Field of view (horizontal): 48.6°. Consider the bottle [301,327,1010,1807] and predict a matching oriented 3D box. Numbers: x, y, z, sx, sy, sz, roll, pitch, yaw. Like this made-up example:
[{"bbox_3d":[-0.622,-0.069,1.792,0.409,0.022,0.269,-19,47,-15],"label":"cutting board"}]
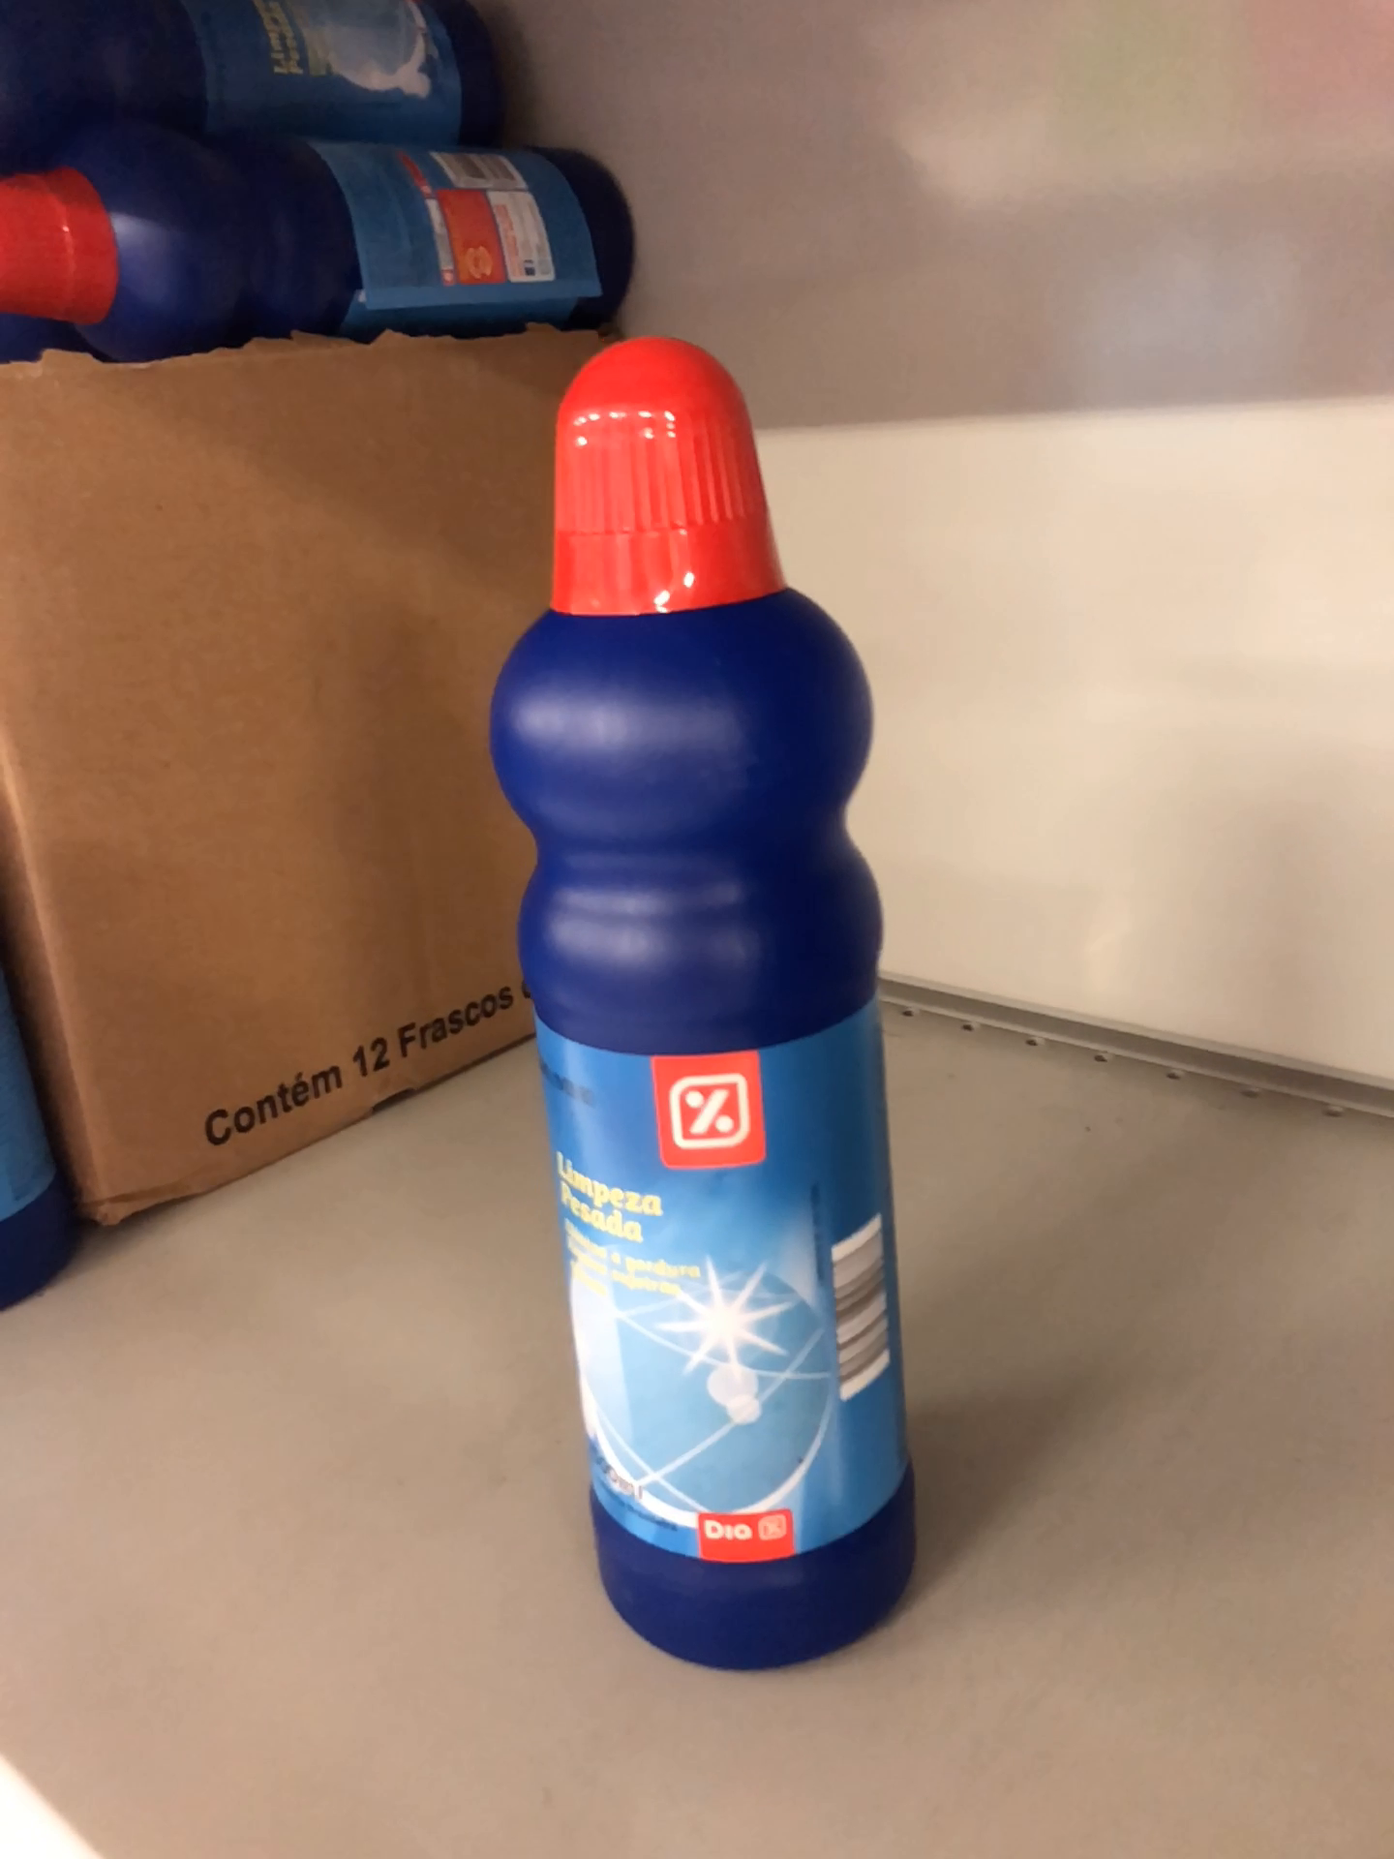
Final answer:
[{"bbox_3d":[0.003,0.025,0.276,0.070,0.239,0.070,-6,19,2],"label":"bottle"}]
